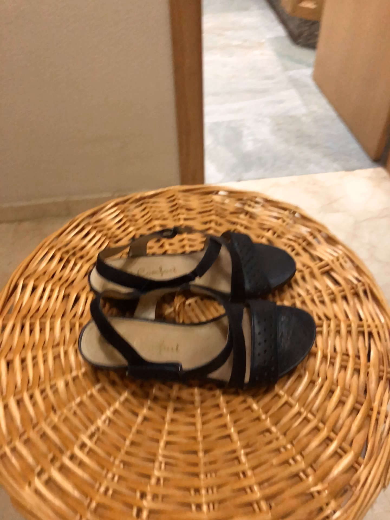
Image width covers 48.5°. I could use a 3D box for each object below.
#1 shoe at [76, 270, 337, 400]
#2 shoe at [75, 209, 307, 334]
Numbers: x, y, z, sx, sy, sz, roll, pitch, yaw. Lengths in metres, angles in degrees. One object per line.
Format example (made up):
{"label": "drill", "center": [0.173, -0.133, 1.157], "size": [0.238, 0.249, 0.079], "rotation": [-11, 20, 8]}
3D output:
{"label": "shoe", "center": [0.006, 0.085, 0.461], "size": [0.247, 0.092, 0.100], "rotation": [4, 57, -13]}
{"label": "shoe", "center": [-0.009, 0.010, 0.517], "size": [0.248, 0.088, 0.090], "rotation": [-5, 47, -13]}
